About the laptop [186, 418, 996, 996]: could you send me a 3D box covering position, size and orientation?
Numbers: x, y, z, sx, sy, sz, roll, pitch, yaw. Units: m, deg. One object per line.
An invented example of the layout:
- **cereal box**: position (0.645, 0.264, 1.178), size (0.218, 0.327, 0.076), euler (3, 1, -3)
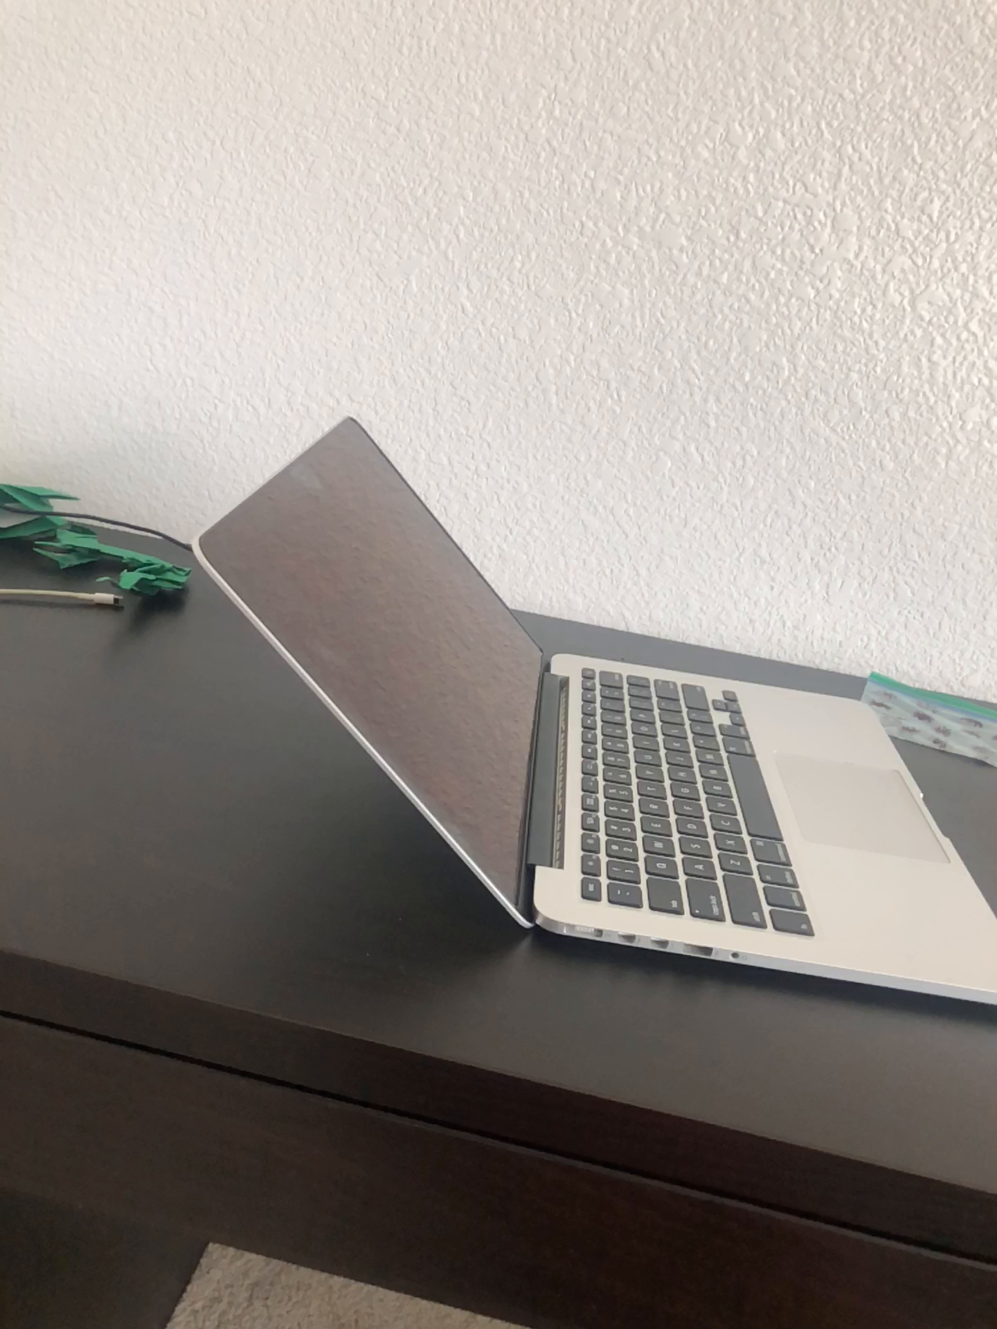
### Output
- **laptop**: position (0.066, -0.011, 0.583), size (0.362, 0.133, 0.310), euler (9, 22, 1)
